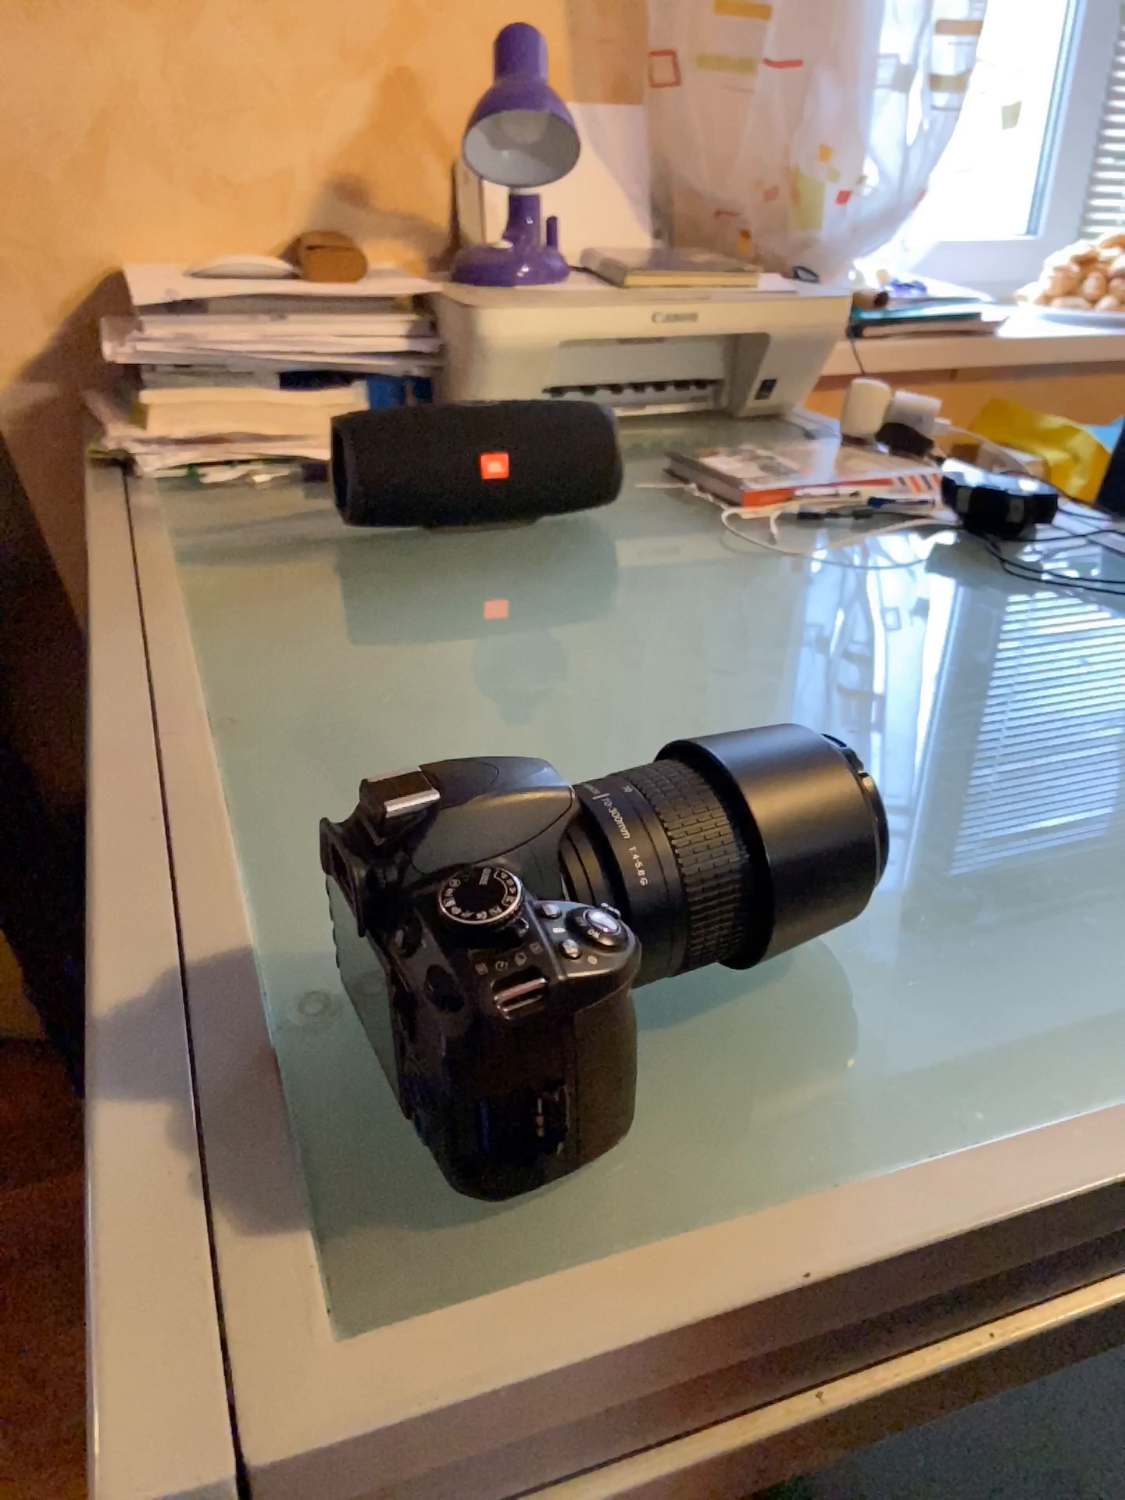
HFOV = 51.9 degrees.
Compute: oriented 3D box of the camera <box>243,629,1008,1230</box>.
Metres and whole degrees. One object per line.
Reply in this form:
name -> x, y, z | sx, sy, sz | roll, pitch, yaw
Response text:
camera -> 0.015, 0.043, 0.396 | 0.209, 0.099, 0.135 | -11, 30, -23
